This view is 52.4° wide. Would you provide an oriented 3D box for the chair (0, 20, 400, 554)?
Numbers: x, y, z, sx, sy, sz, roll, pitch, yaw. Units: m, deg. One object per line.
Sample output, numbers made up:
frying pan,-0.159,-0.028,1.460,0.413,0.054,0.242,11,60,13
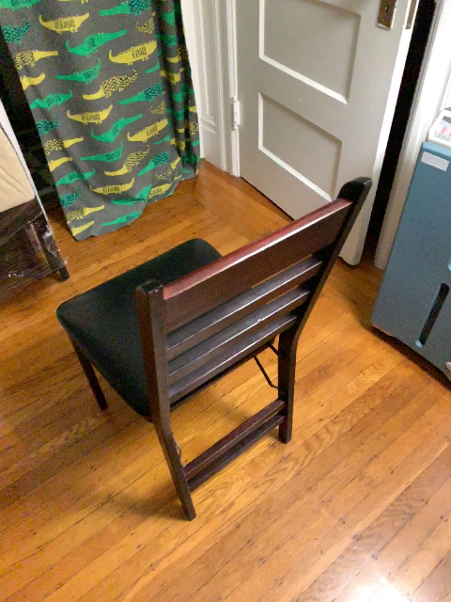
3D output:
chair,-0.114,0.005,0.976,0.490,0.865,0.552,-32,53,-24
